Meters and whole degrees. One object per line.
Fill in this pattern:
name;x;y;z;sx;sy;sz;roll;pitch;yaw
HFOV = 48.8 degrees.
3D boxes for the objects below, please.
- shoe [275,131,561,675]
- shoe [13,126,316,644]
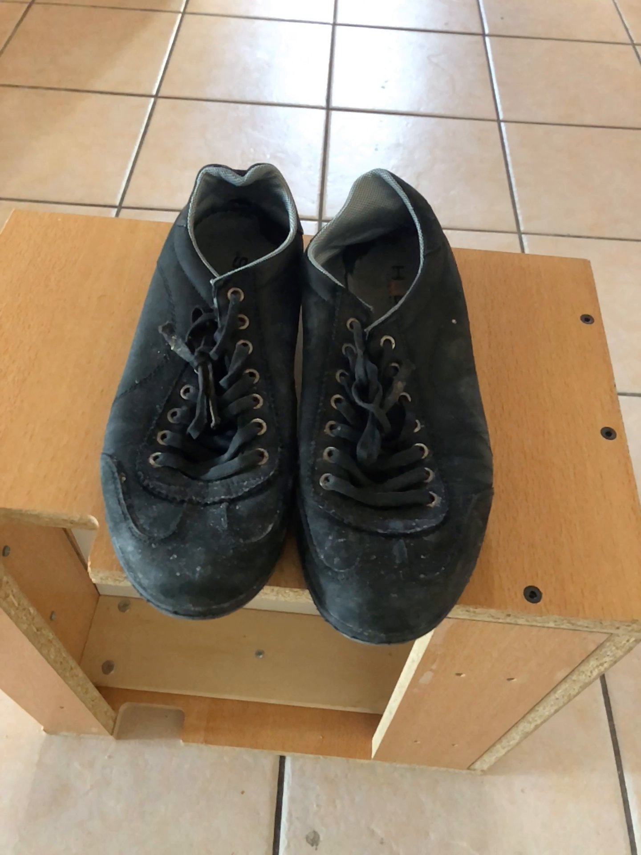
shoe;0.040;-0.035;0.398;0.110;0.089;0.312;3;54;-1
shoe;-0.064;-0.043;0.403;0.110;0.089;0.302;3;54;-1
